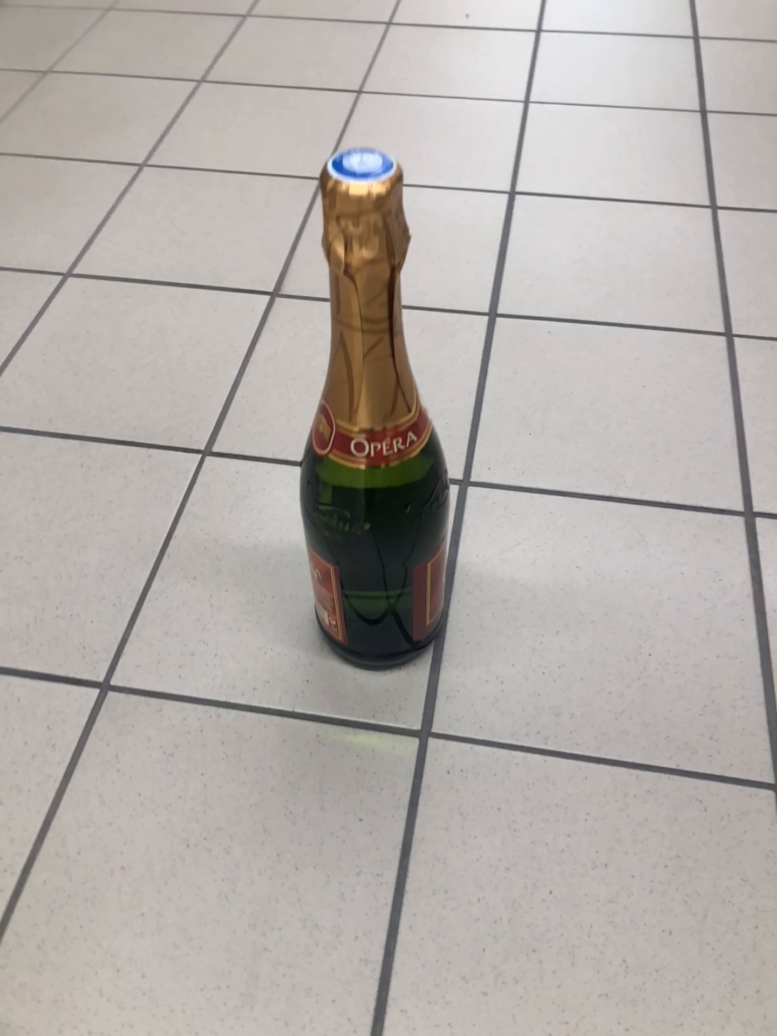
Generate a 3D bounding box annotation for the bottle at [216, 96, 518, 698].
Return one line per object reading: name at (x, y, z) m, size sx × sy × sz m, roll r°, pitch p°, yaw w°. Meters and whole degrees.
bottle at (-0.008, -0.033, 0.427) m, size 0.090 × 0.298 × 0.090 m, roll -1°, pitch 49°, yaw 1°
